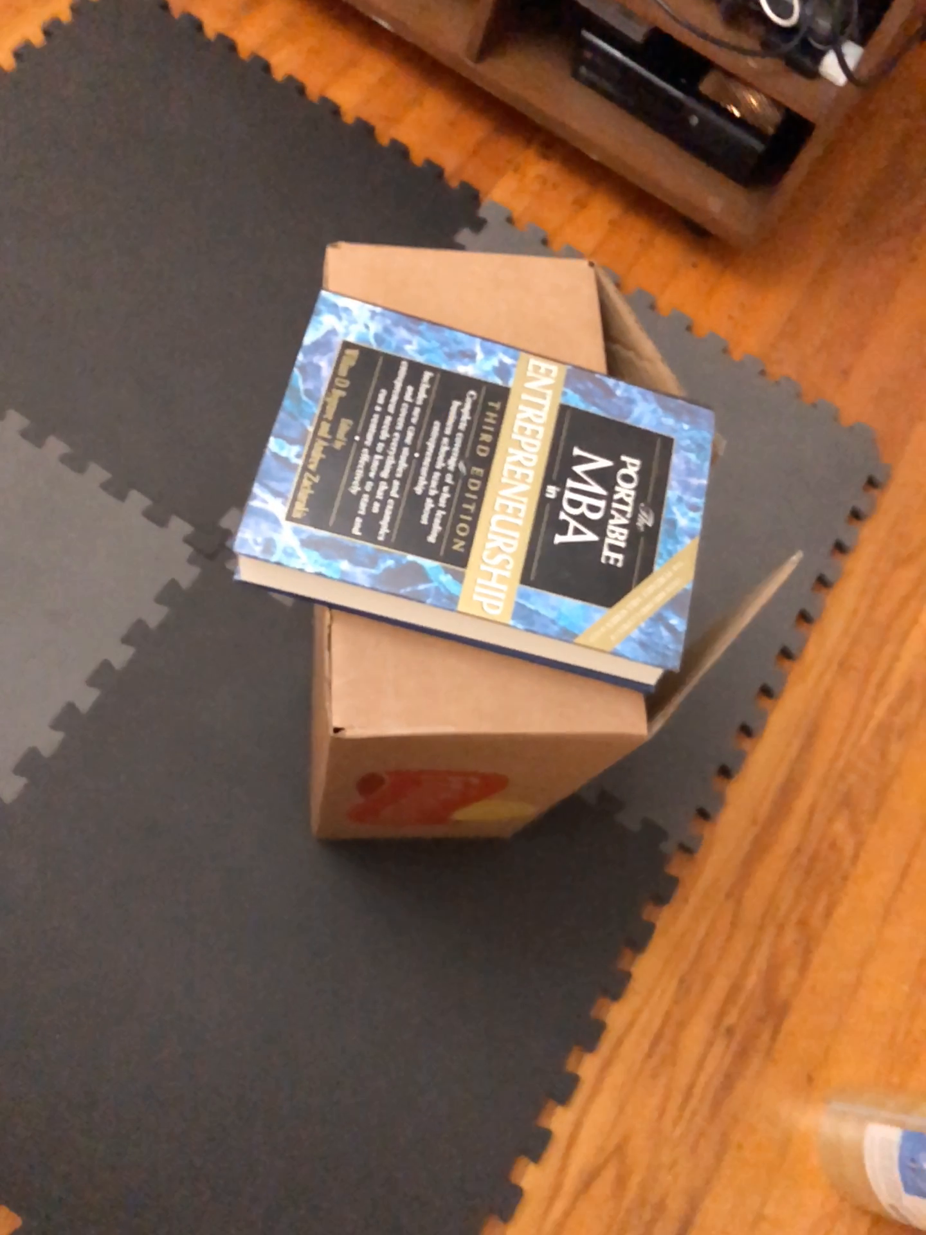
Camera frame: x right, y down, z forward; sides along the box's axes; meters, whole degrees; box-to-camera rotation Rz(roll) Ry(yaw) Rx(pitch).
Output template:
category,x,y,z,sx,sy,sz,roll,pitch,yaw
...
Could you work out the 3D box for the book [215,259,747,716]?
category,x,y,z,sx,sy,sz,roll,pitch,yaw
book,0.019,-0.080,0.616,0.270,0.060,0.211,14,67,-2
